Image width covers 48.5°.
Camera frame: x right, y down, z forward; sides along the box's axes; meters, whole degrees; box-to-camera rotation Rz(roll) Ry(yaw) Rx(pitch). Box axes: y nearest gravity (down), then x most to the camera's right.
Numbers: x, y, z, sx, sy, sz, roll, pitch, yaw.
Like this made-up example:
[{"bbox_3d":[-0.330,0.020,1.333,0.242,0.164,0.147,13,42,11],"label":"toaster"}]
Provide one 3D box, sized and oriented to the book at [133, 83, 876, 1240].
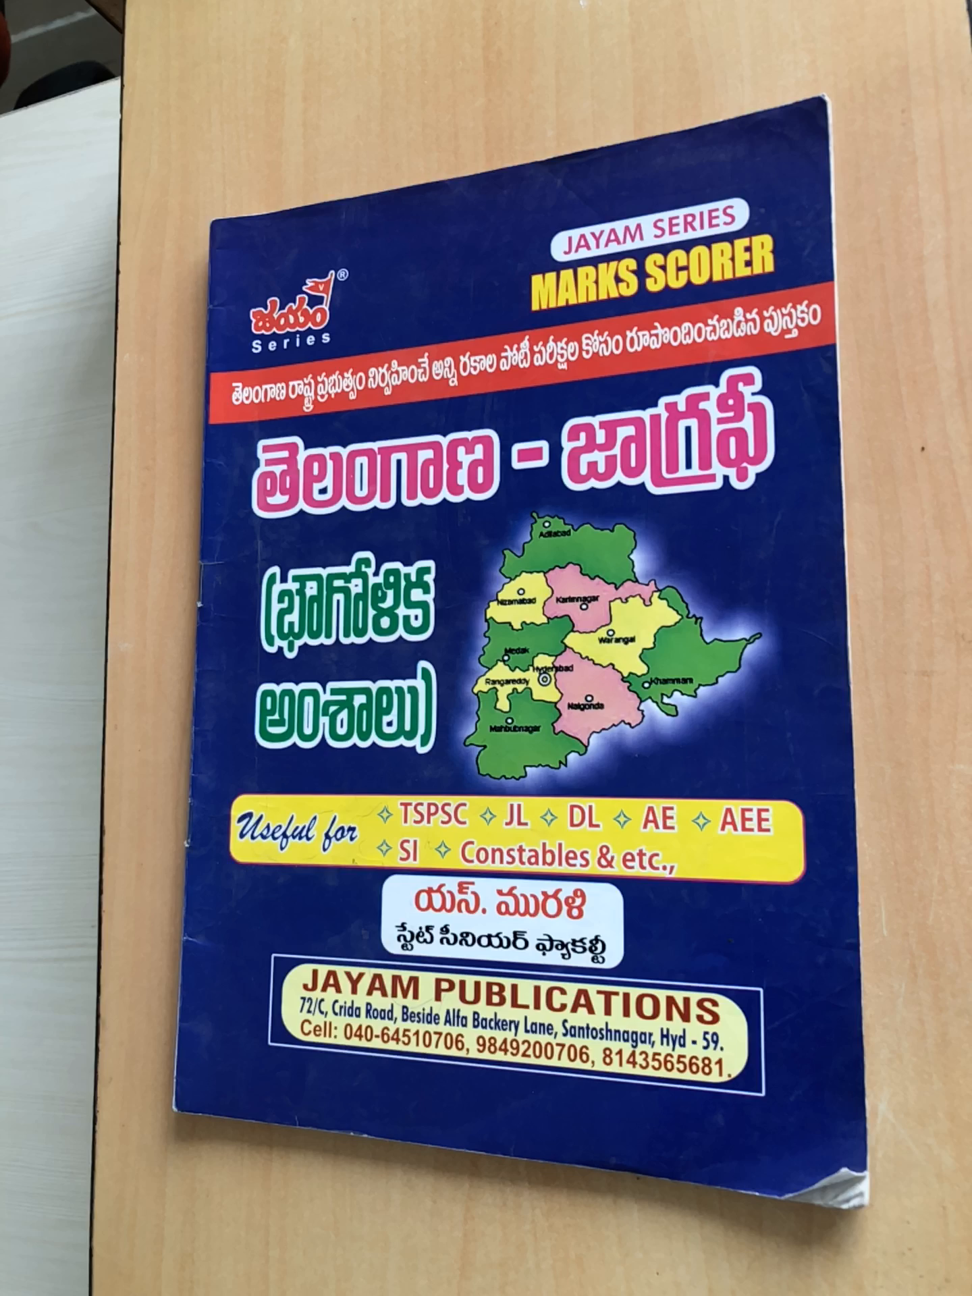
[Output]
[{"bbox_3d":[0.002,-0.002,0.313,0.200,0.040,0.280,-2,82,20],"label":"book"}]
